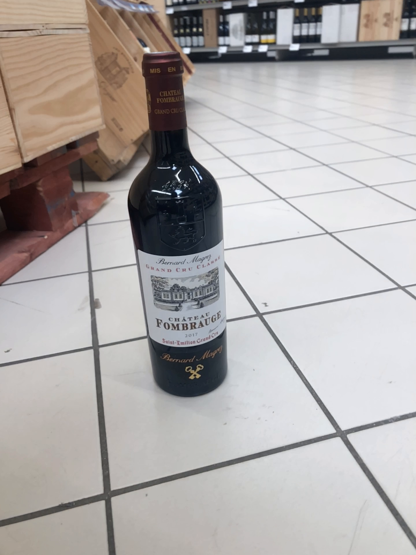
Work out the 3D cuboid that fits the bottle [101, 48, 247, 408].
[{"bbox_3d":[-0.023,-0.035,0.399,0.090,0.288,0.090,-3,27,1],"label":"bottle"}]
